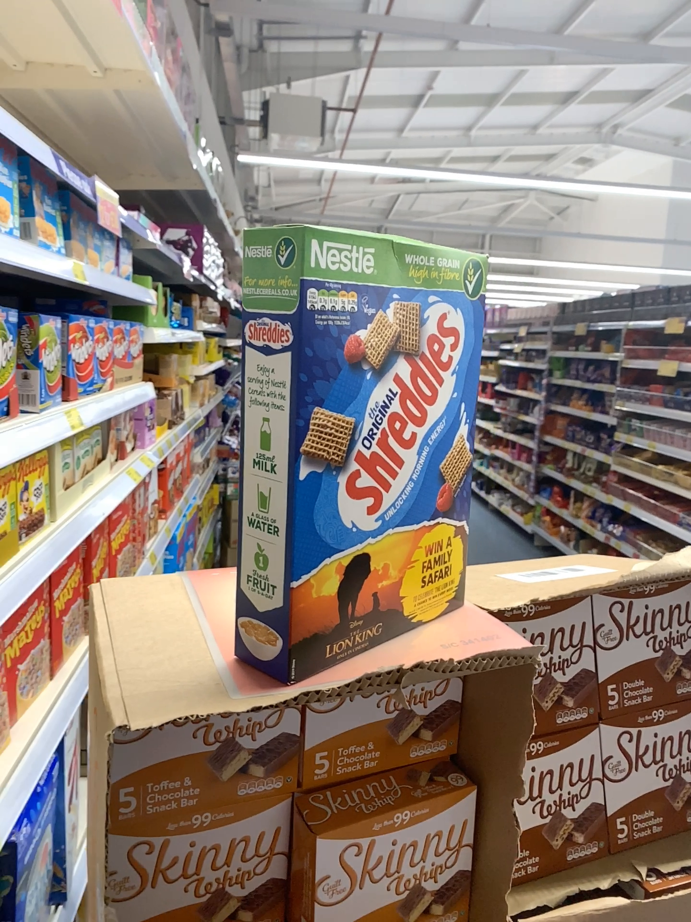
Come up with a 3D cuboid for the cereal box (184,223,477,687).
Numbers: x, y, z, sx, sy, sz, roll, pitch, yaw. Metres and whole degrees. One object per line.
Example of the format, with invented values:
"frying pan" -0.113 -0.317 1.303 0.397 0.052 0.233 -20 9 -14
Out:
"cereal box" -0.005 -0.014 0.503 0.070 0.269 0.210 12 15 42
